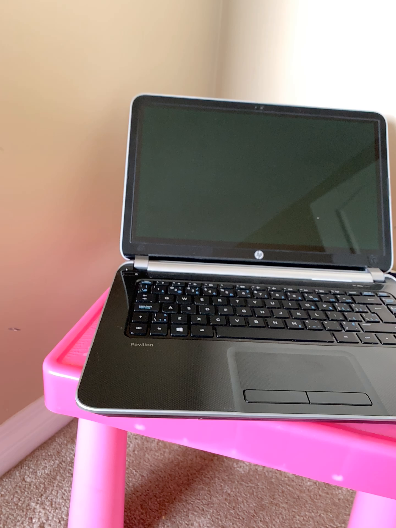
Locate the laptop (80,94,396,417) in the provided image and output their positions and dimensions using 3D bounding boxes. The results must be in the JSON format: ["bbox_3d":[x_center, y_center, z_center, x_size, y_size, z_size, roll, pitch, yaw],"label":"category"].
[{"bbox_3d":[0.072,-0.038,0.353,0.274,0.161,0.273,3,27,-4],"label":"laptop"}]
